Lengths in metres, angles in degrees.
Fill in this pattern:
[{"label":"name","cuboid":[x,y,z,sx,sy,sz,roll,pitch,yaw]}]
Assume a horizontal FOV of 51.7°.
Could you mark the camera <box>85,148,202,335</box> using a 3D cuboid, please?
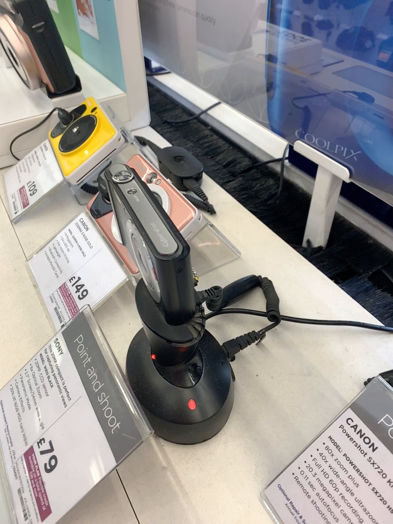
[{"label":"camera","cuboid":[-0.033,-0.016,0.243,0.030,0.059,0.101,-19,46,-17]}]
